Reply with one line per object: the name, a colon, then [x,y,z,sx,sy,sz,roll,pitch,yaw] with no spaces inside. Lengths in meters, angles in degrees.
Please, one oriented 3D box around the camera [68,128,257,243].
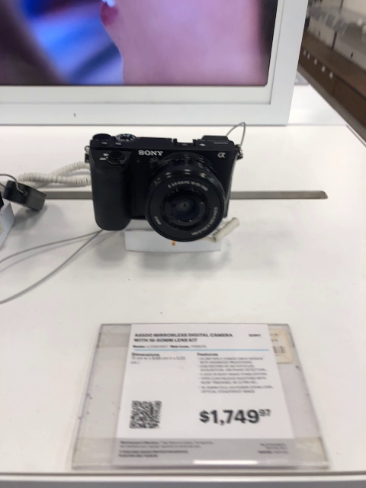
camera: [-0.015,-0.047,0.324,0.130,0.070,0.060,0,36,-1]
